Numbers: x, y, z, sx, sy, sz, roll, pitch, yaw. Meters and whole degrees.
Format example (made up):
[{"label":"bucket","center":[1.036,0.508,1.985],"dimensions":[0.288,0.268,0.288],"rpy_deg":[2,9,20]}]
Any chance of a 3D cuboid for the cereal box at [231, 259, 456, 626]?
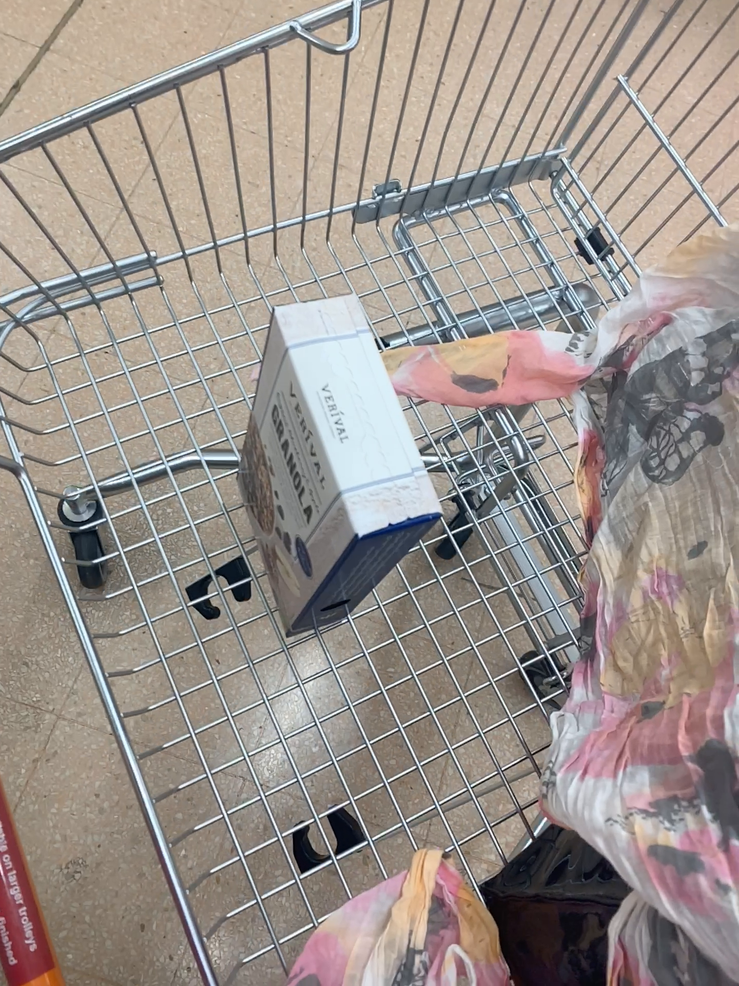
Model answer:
[{"label":"cereal box","center":[-0.033,-0.013,0.471],"dimensions":[0.050,0.229,0.140],"rpy_deg":[-14,73,-20]}]
